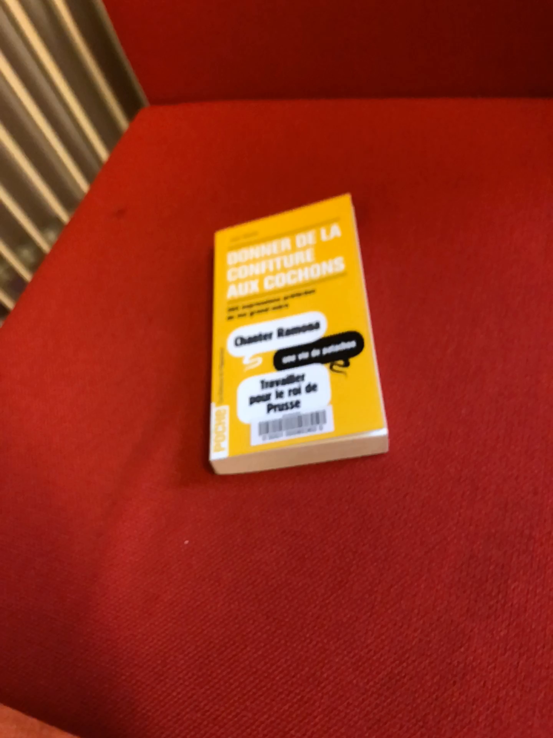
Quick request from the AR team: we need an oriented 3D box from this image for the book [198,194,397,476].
[{"bbox_3d":[0.008,-0.029,0.394,0.106,0.030,0.181,-10,55,10],"label":"book"}]
